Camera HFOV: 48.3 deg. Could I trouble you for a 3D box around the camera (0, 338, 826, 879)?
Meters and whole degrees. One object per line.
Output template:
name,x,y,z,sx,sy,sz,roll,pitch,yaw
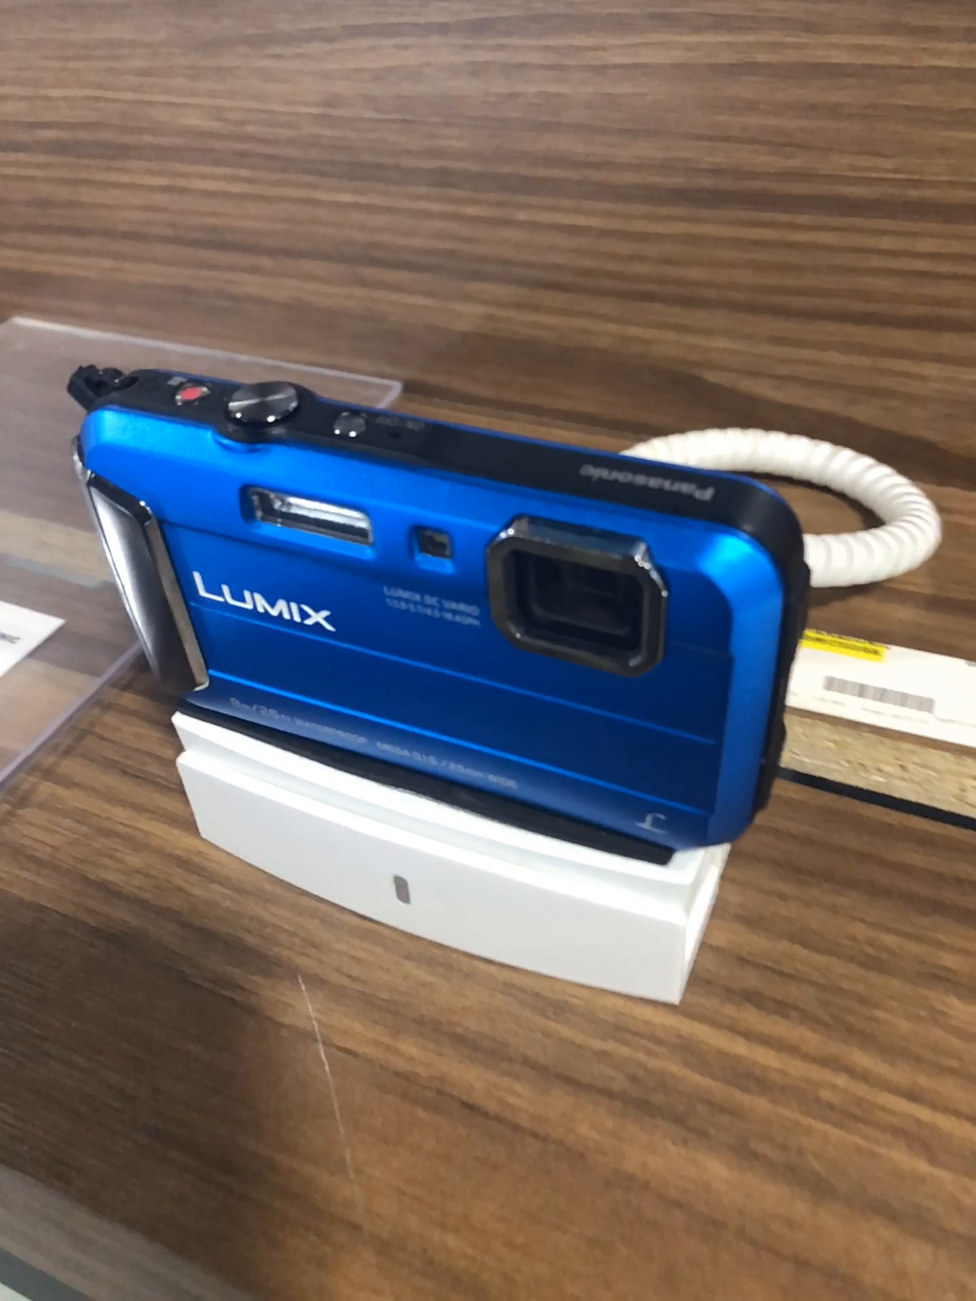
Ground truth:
camera,-0.011,-0.007,0.149,0.101,0.051,0.023,14,47,19
